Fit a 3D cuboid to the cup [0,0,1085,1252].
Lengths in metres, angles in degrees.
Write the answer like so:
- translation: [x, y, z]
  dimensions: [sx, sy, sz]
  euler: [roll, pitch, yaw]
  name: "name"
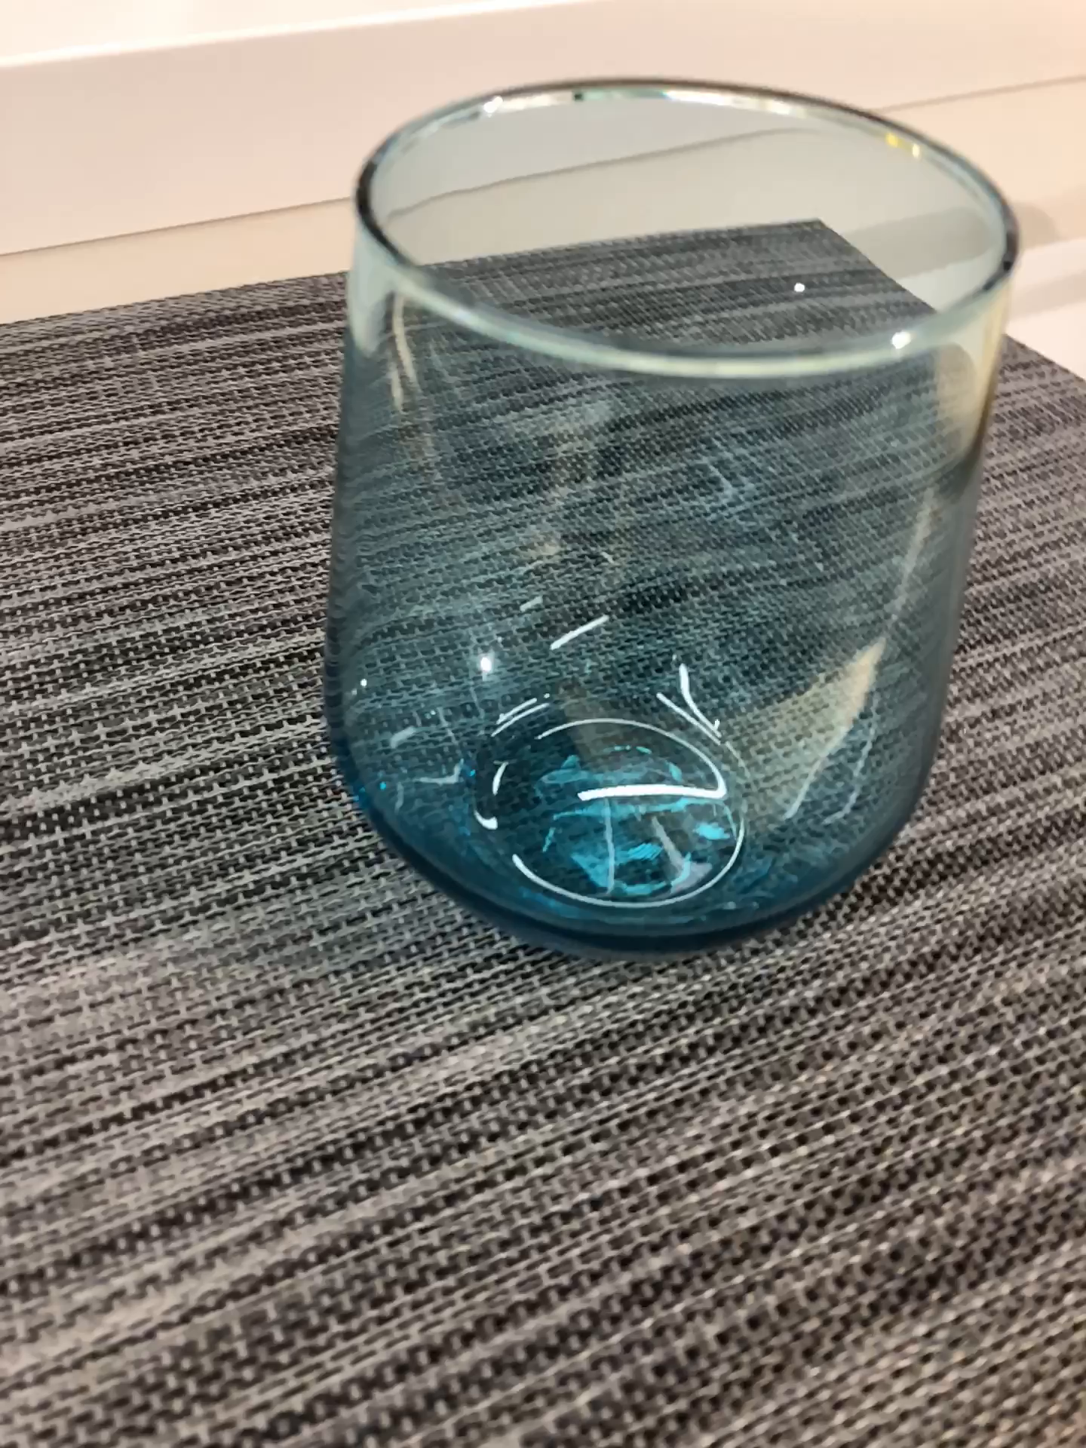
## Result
- translation: [0.007, -0.029, 0.186]
  dimensions: [0.120, 0.120, 0.120]
  euler: [1, 44, -1]
  name: "cup"
